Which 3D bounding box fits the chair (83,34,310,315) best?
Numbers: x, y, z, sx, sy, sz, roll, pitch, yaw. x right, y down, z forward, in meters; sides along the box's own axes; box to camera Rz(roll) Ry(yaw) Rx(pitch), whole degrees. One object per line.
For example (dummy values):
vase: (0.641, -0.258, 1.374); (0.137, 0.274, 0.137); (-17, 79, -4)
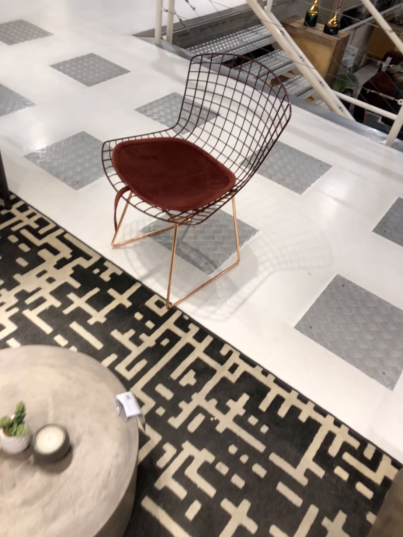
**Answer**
chair: (-0.064, -0.344, 1.638); (0.502, 0.764, 0.512); (-25, 55, -30)
